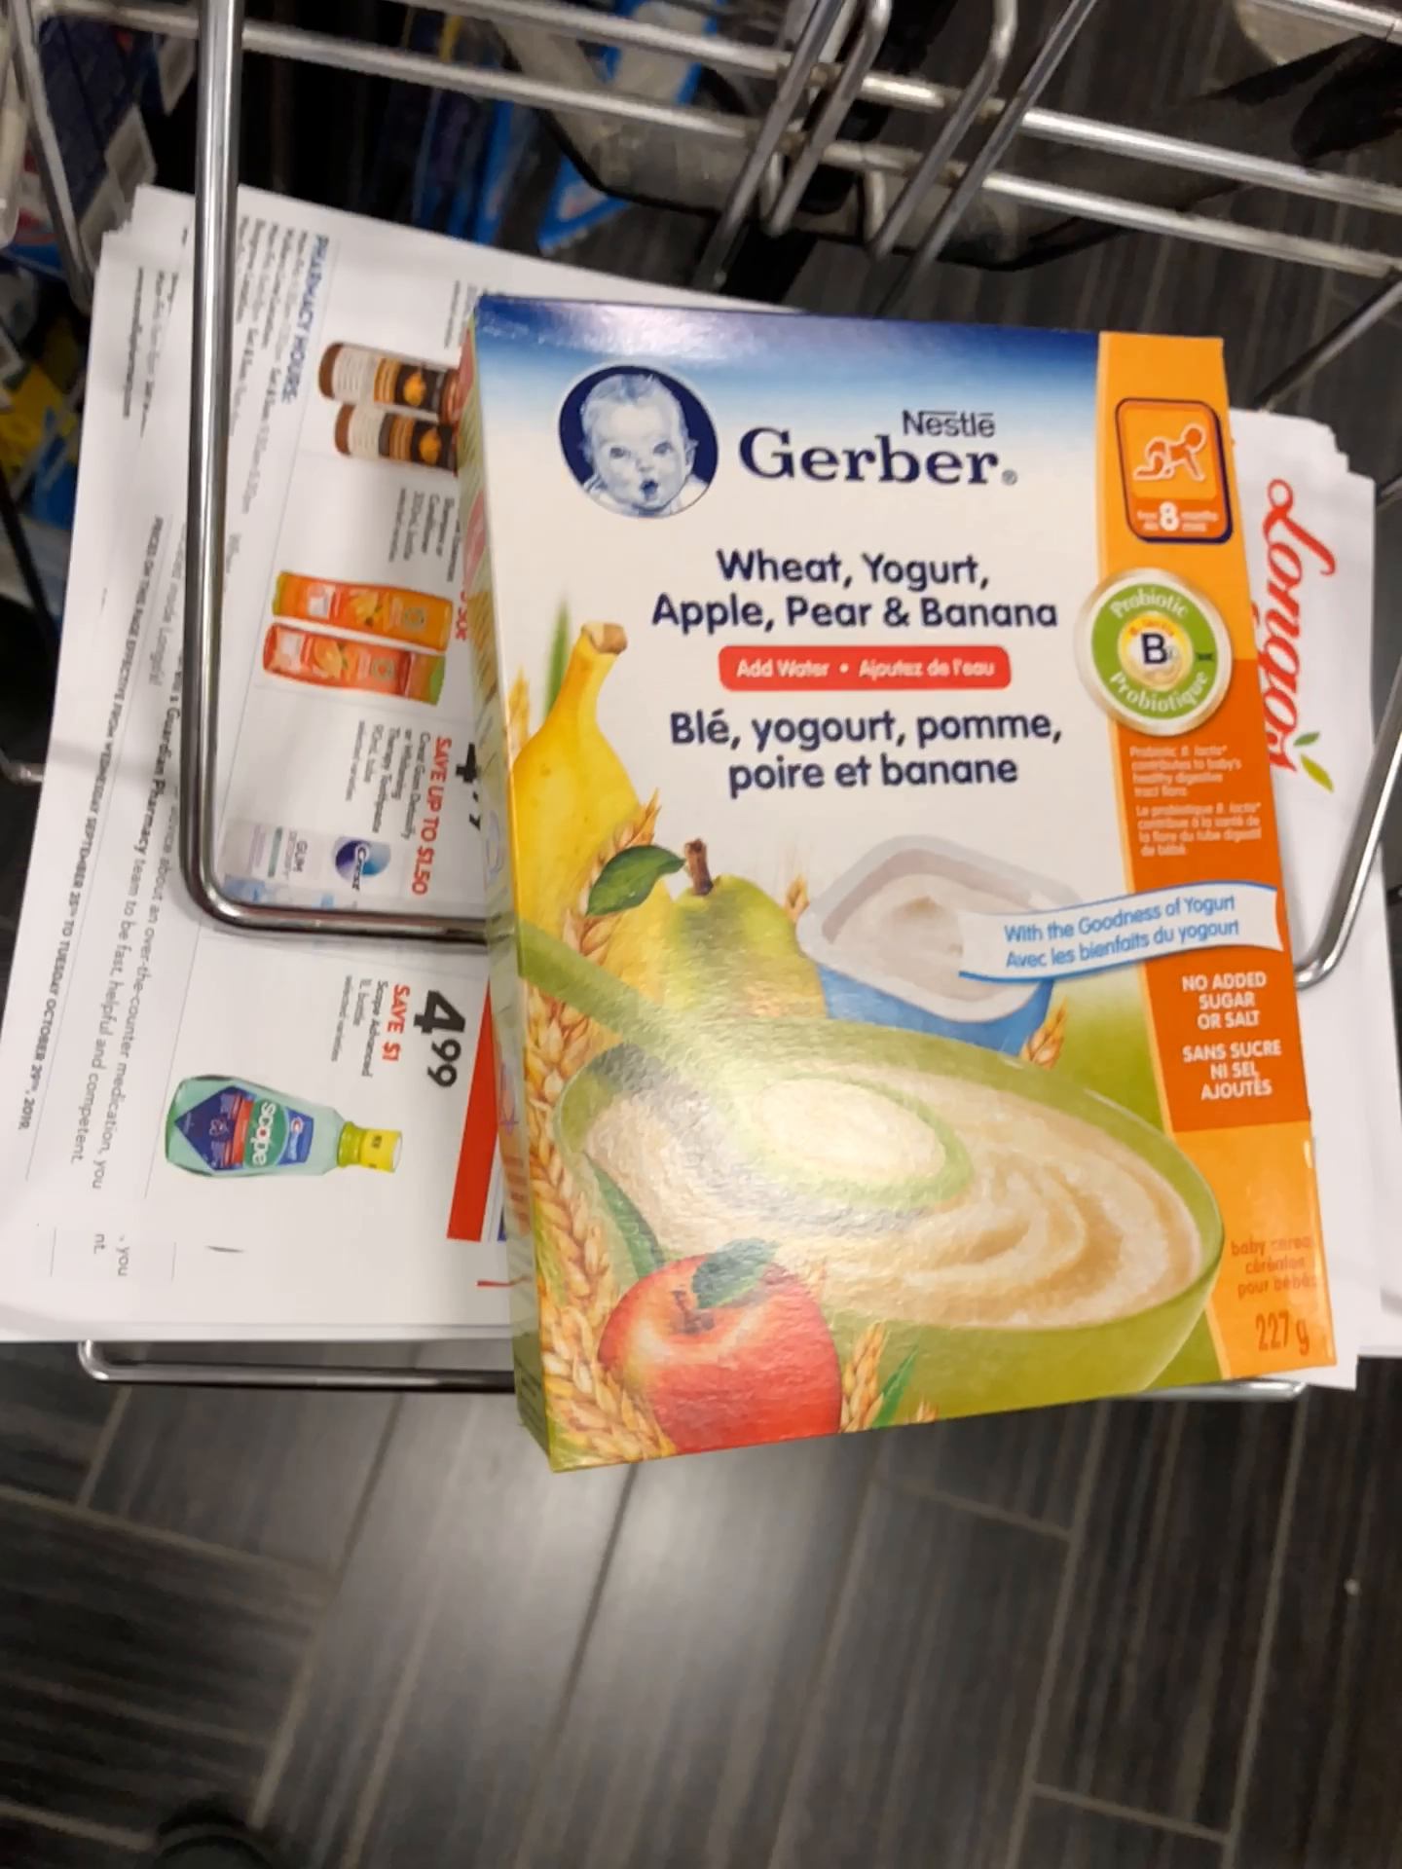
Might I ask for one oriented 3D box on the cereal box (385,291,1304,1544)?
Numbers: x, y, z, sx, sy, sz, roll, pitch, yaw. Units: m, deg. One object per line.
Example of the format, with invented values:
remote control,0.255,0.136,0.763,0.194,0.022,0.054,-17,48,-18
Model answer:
cereal box,0.019,-0.005,0.287,0.150,0.050,0.200,0,81,-12
